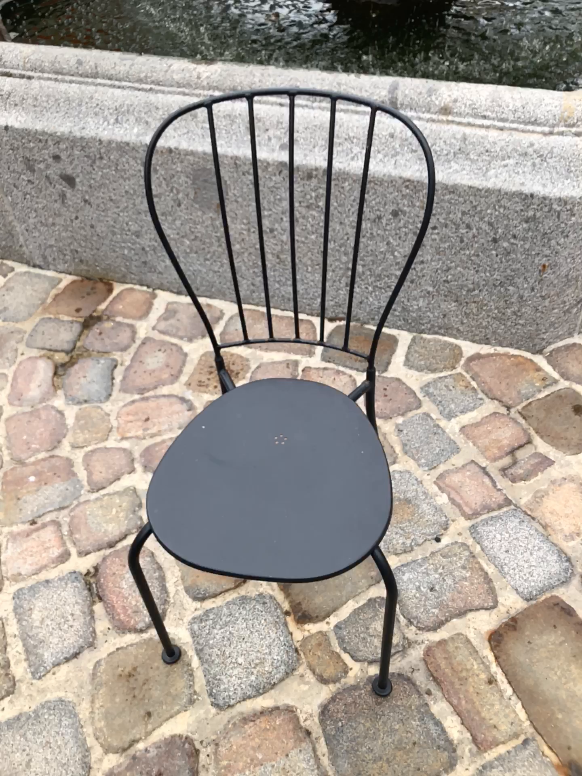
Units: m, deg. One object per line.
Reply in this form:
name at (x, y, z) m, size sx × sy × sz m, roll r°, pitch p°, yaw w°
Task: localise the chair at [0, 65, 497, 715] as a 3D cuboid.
chair at (-0.011, 0.050, 0.911) m, size 0.420 × 0.796 × 0.473 m, roll 5°, pitch 46°, yaw 8°
